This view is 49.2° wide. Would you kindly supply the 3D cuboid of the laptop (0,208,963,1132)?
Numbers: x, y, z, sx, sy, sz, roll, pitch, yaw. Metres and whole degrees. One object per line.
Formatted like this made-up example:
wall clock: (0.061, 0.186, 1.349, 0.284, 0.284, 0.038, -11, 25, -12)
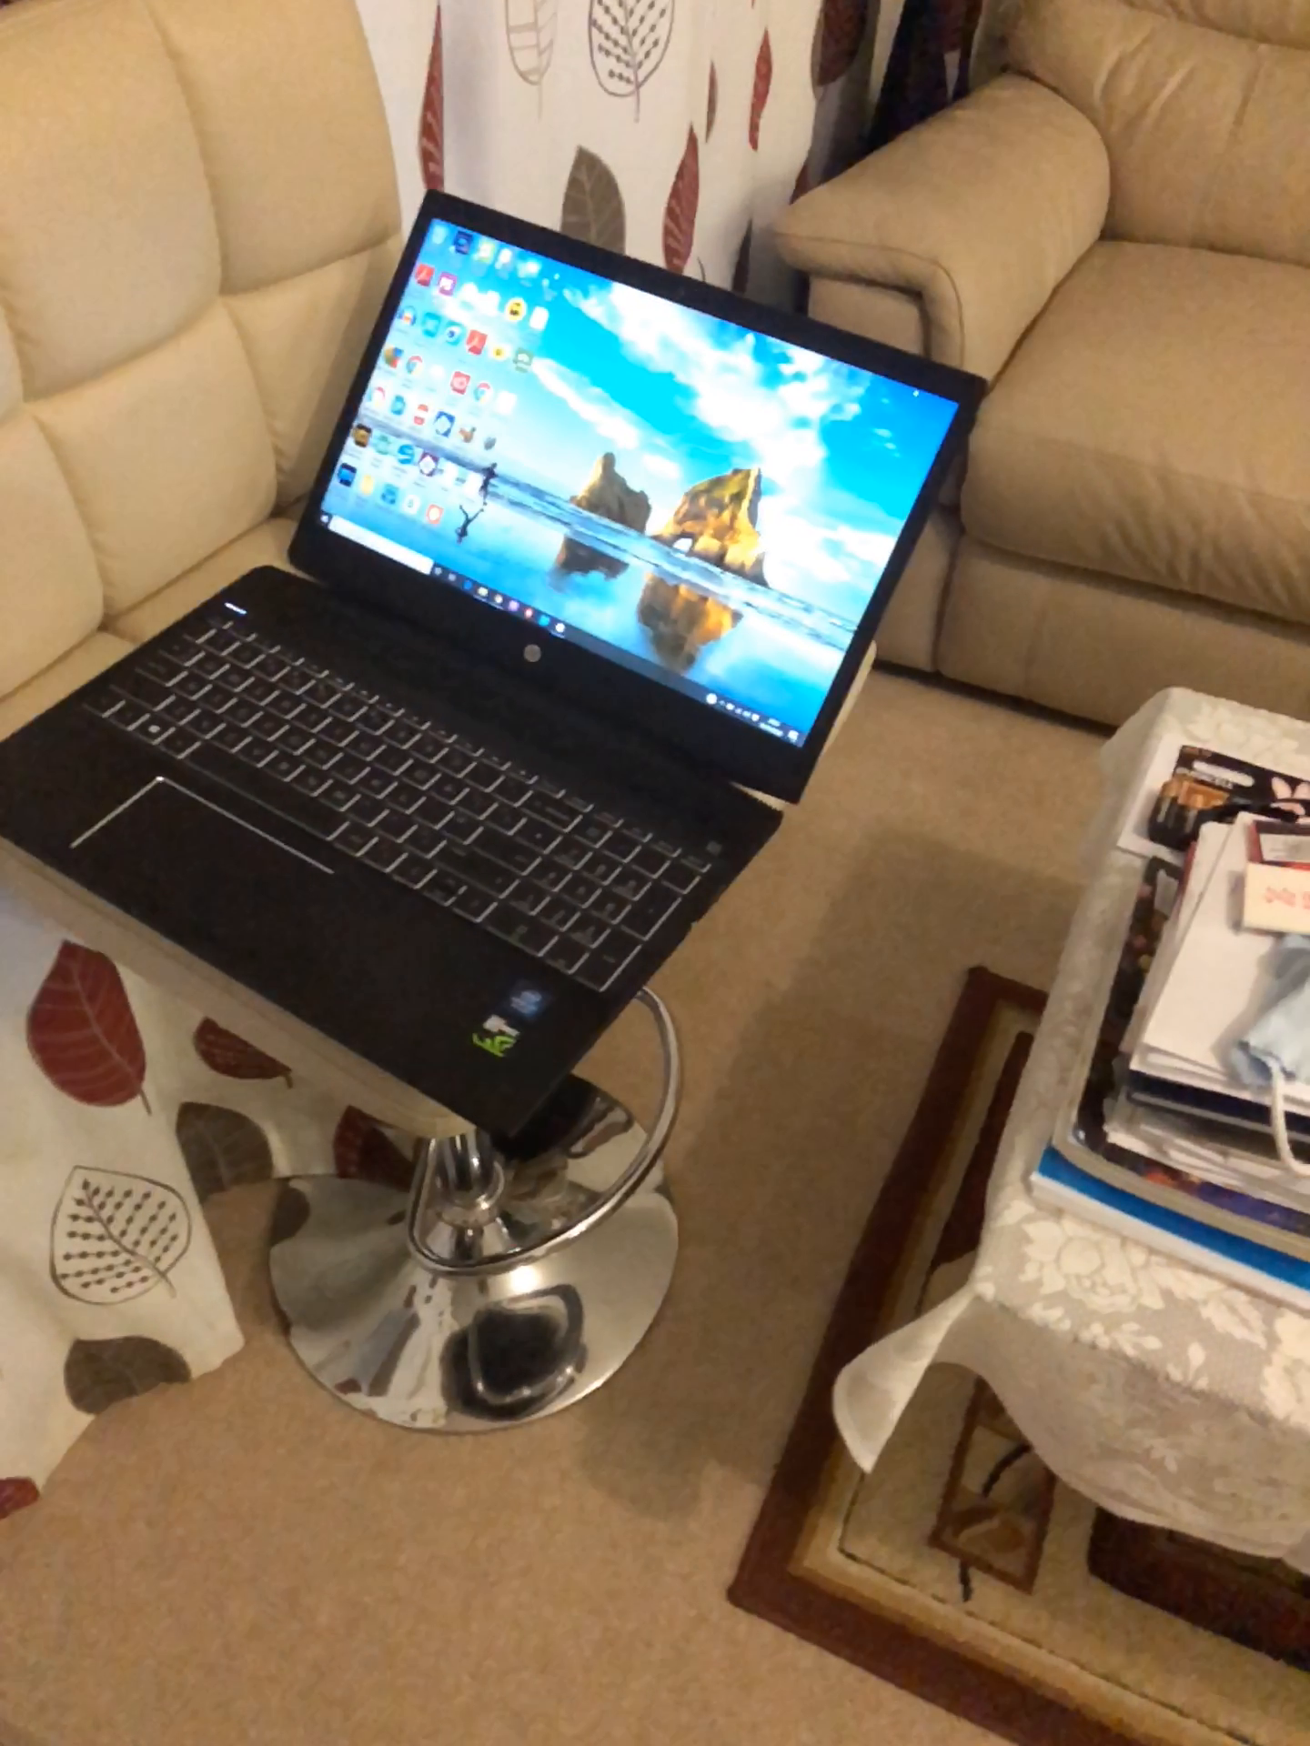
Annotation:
laptop: (-0.100, -0.140, 0.707, 0.348, 0.159, 0.402, 27, 50, 20)
